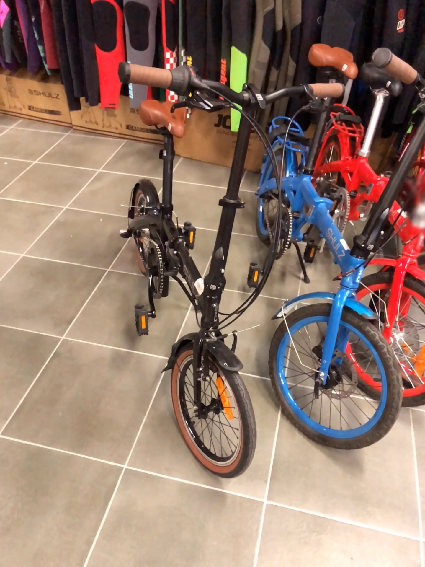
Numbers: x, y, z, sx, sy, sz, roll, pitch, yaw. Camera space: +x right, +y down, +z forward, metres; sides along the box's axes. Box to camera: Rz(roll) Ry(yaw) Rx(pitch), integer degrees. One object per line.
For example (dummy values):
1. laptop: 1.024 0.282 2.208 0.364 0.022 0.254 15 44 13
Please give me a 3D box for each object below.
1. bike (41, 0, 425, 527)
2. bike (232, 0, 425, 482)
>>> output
1. bike: -0.072 -0.222 1.429 0.565 1.057 1.279 -13 41 -15
2. bike: 0.489 -0.298 1.583 0.567 1.029 1.380 -5 42 -7
